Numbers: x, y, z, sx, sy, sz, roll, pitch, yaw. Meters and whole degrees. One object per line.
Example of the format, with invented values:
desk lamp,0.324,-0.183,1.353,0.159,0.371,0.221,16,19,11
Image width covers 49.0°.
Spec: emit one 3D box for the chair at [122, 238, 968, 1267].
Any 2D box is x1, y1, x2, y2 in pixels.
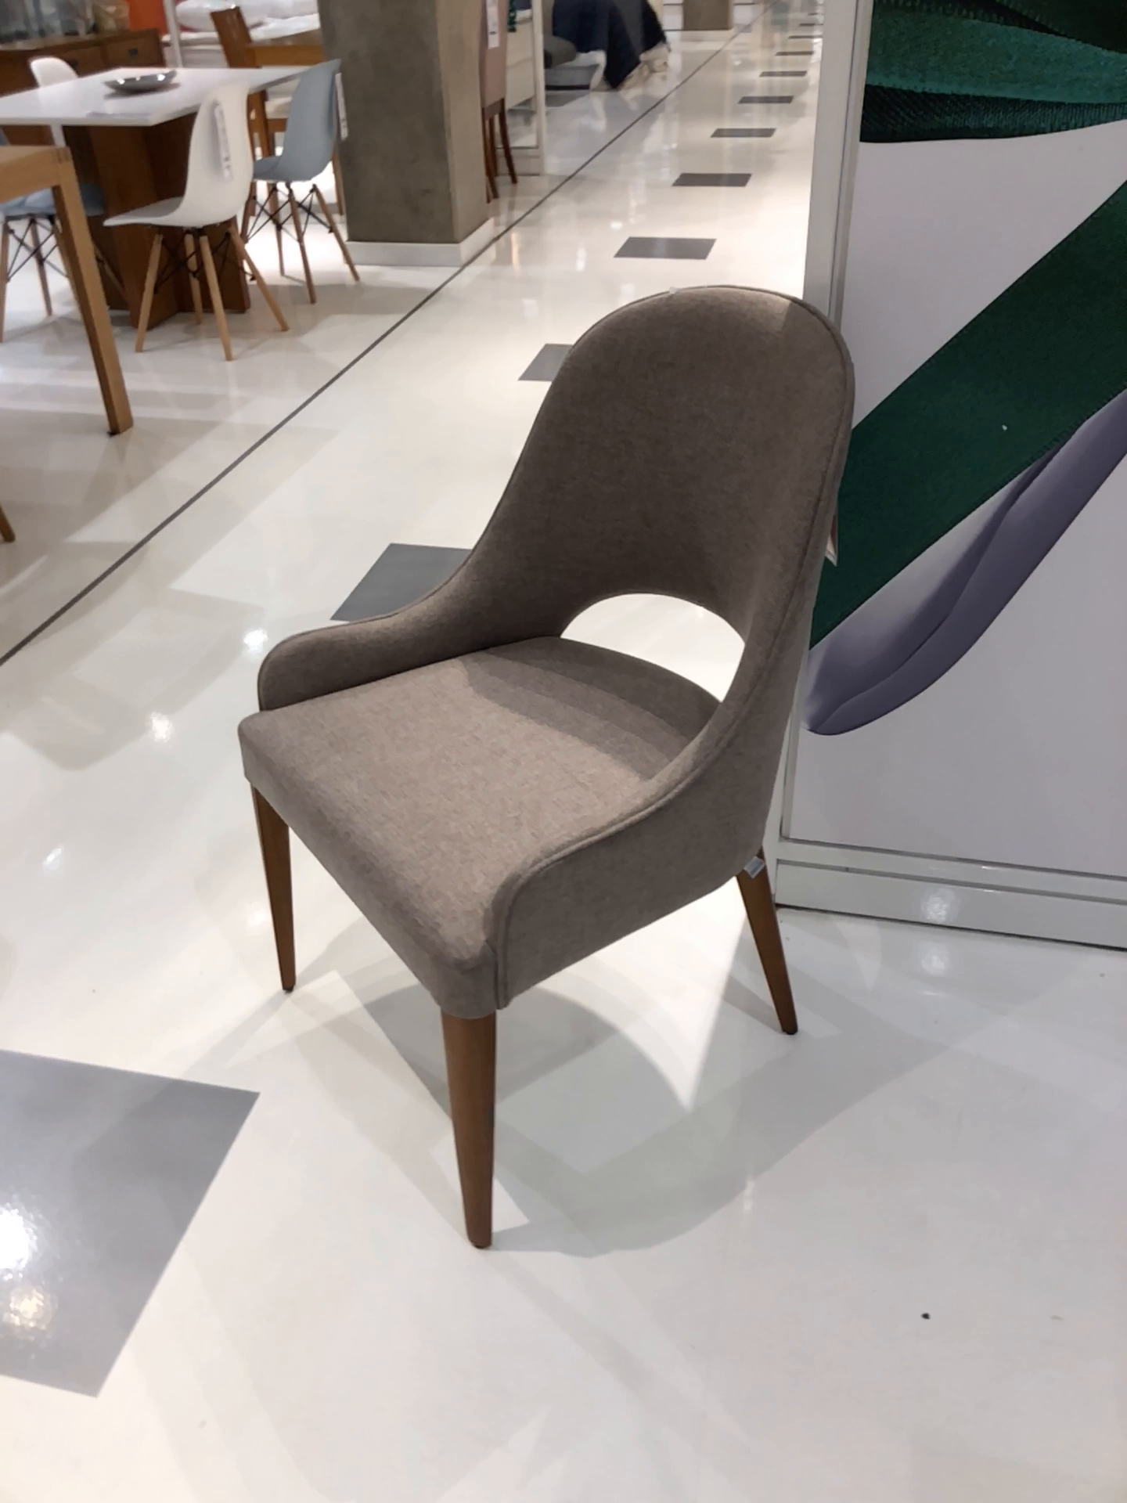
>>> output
chair,-0.025,-0.038,1.448,0.612,0.893,0.573,-22,38,-27
